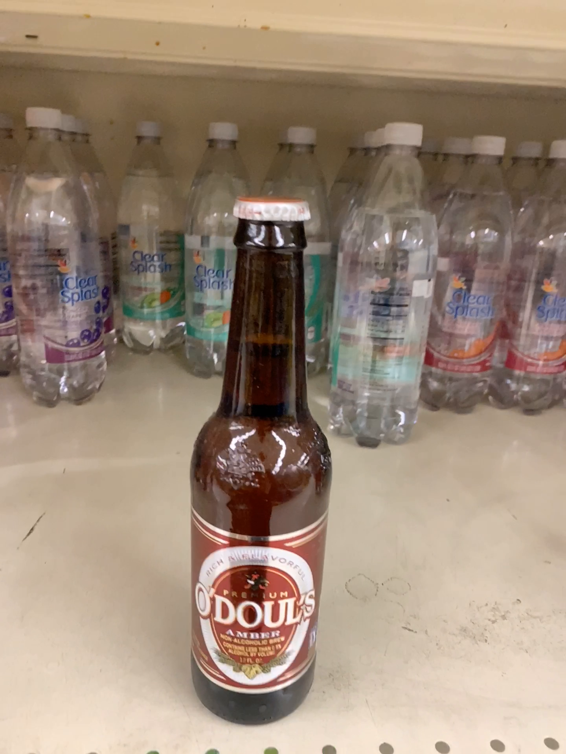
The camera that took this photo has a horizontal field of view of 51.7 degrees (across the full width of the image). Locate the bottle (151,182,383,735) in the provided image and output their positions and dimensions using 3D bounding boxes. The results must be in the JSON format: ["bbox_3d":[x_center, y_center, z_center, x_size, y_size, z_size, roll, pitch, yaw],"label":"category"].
[{"bbox_3d":[-0.008,0.037,0.247,0.070,0.219,0.070,3,21,-1],"label":"bottle"}]
